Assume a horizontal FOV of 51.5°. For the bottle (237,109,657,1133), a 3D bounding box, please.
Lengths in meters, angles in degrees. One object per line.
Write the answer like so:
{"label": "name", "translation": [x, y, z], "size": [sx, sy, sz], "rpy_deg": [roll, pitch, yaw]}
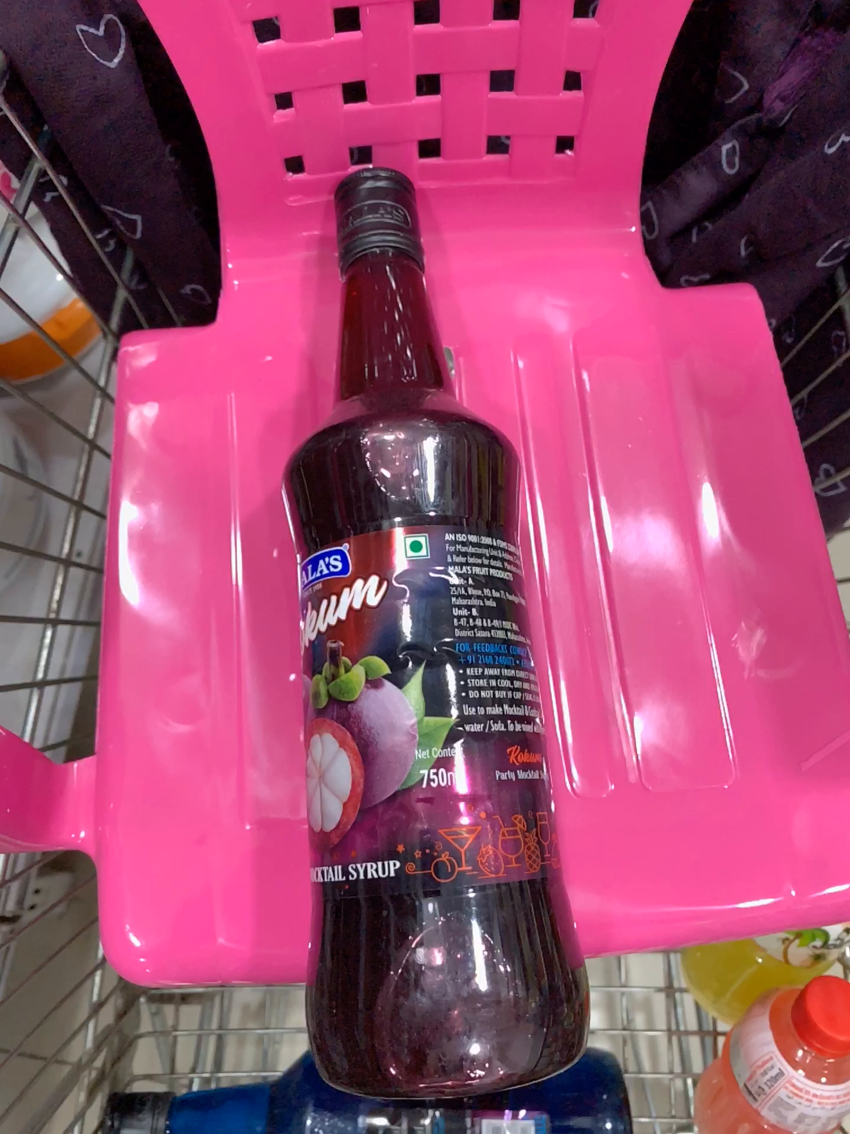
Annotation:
{"label": "bottle", "translation": [-0.004, 0.008, 0.271], "size": [0.080, 0.080, 0.260], "rpy_deg": [3, 74, -28]}
